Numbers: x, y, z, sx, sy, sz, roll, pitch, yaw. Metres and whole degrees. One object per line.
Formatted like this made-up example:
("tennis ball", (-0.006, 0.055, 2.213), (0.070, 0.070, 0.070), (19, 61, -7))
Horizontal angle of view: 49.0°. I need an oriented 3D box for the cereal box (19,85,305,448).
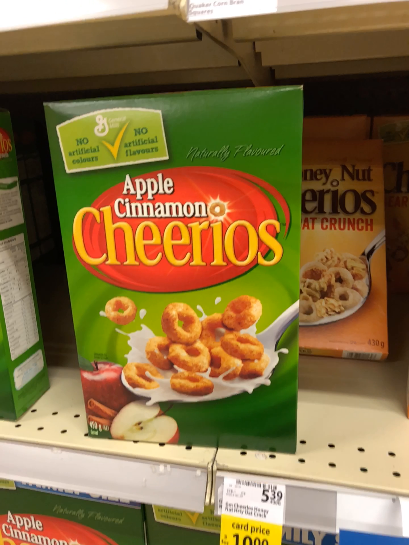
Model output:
("cereal box", (-0.024, 0.001, 0.393), (0.210, 0.289, 0.070), (0, 17, 10))
